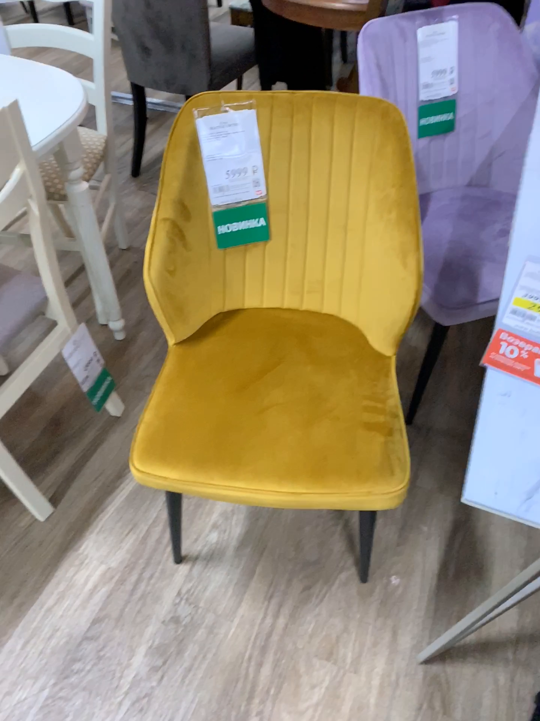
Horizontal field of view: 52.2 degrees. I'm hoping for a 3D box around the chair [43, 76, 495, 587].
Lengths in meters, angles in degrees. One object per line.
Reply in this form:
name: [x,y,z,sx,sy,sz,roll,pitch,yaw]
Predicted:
chair: [0.014,0.007,1.101,0.500,0.886,0.502,4,47,4]
